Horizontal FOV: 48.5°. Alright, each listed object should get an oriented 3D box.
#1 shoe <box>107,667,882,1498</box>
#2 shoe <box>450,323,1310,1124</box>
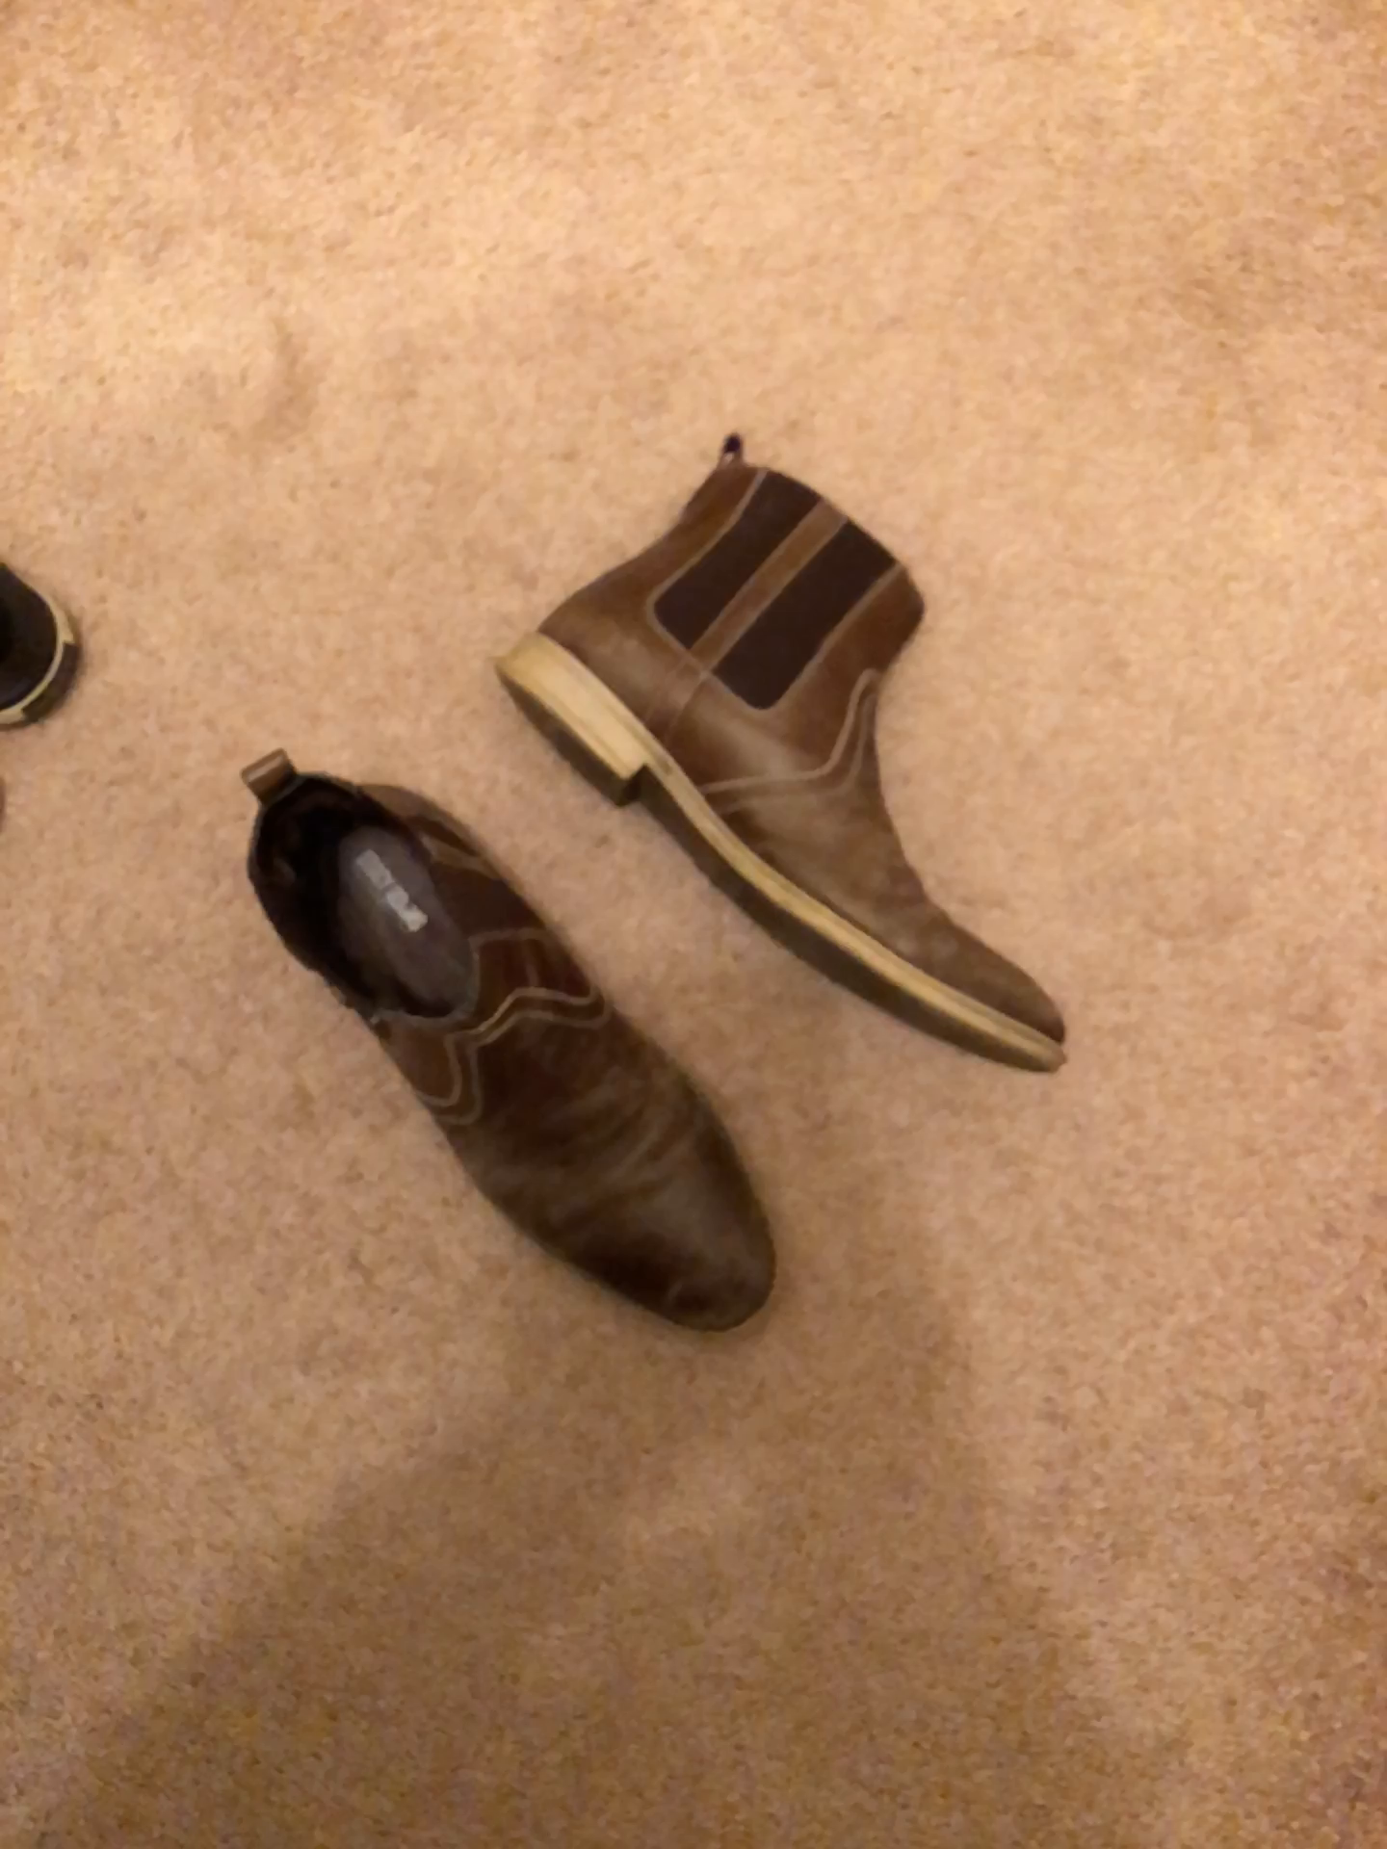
[{"bbox_3d":[-0.076,0.063,0.659,0.115,0.176,0.308,-41,85,-4],"label":"shoe"},{"bbox_3d":[0.078,-0.084,0.705,0.313,0.115,0.186,39,87,4],"label":"shoe"}]
